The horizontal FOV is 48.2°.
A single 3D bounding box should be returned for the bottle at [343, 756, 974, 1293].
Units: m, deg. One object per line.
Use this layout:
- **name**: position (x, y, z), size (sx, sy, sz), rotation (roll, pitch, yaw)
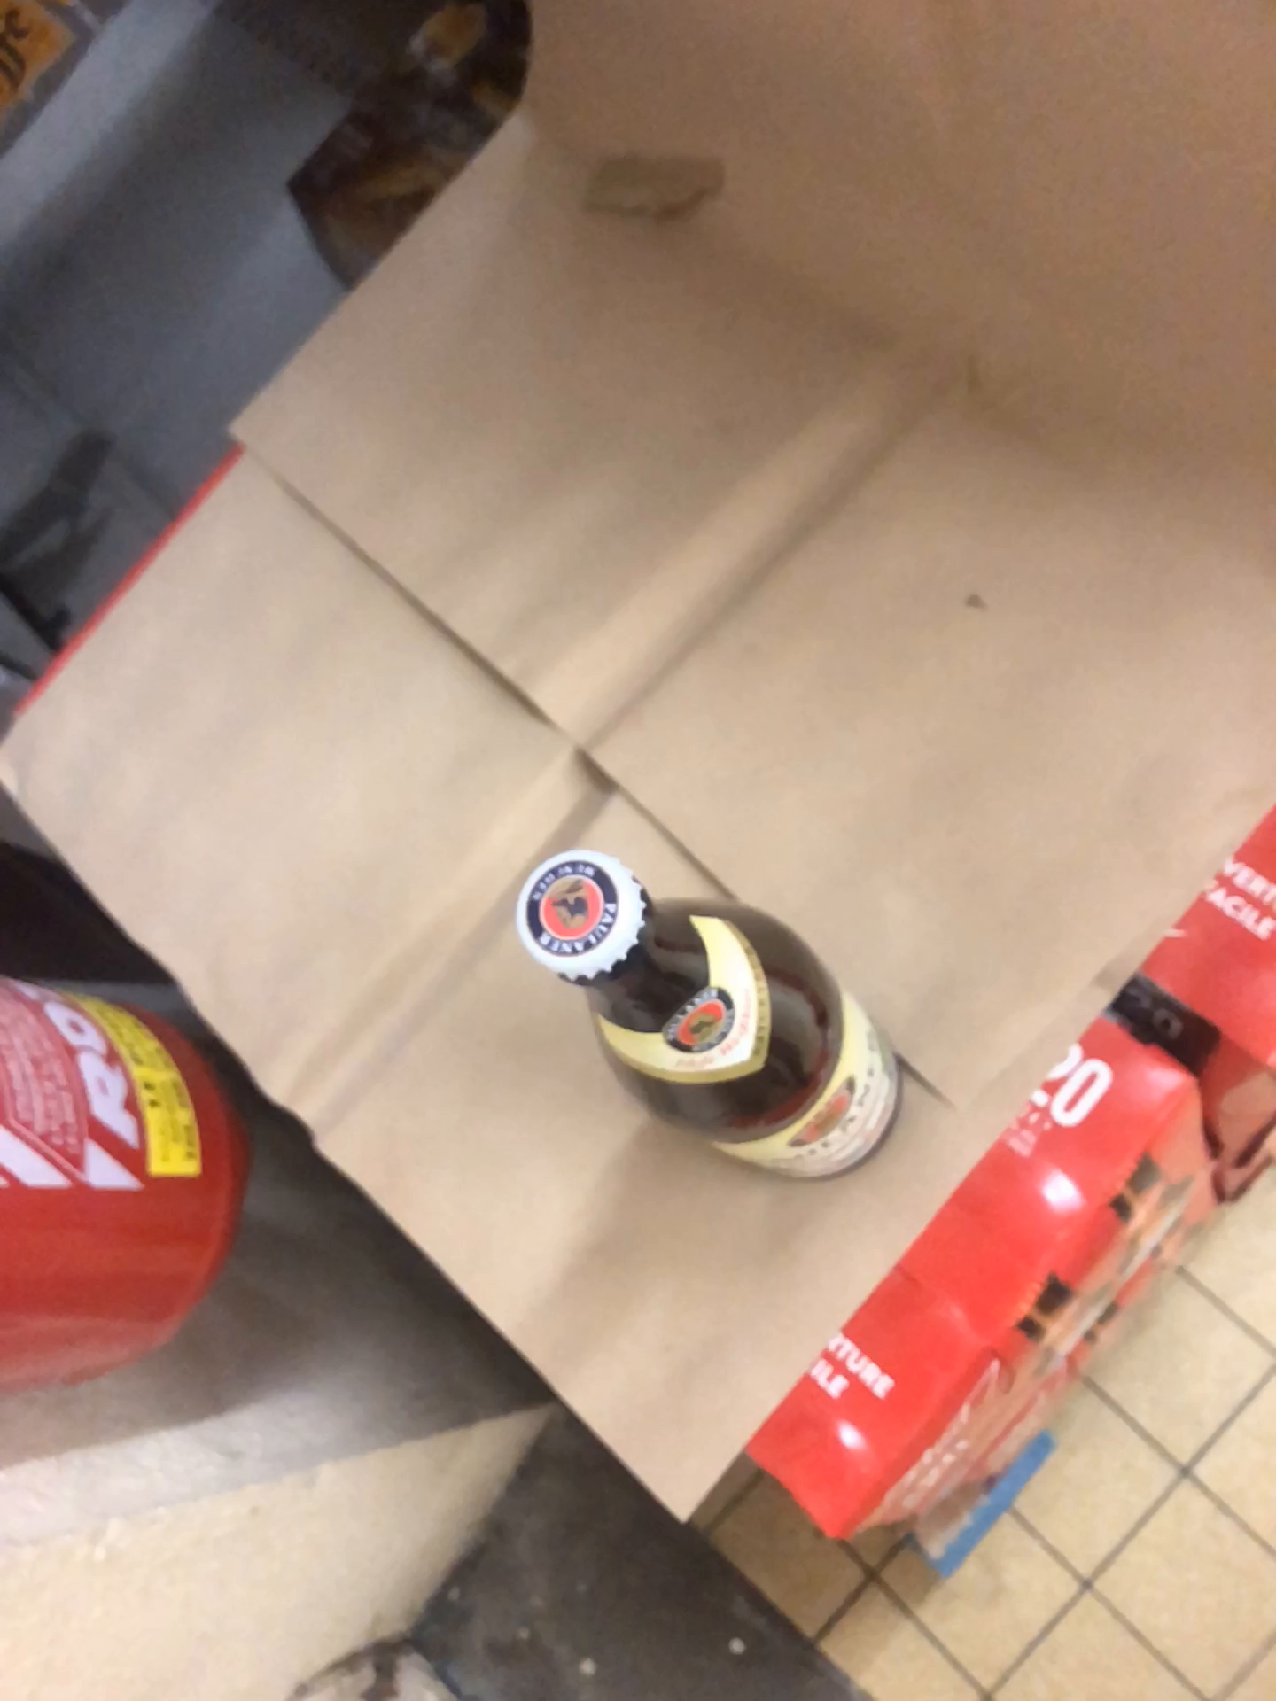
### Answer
- **bottle**: position (0.025, 0.064, 0.404), size (0.080, 0.240, 0.080), rotation (-5, 74, 18)
